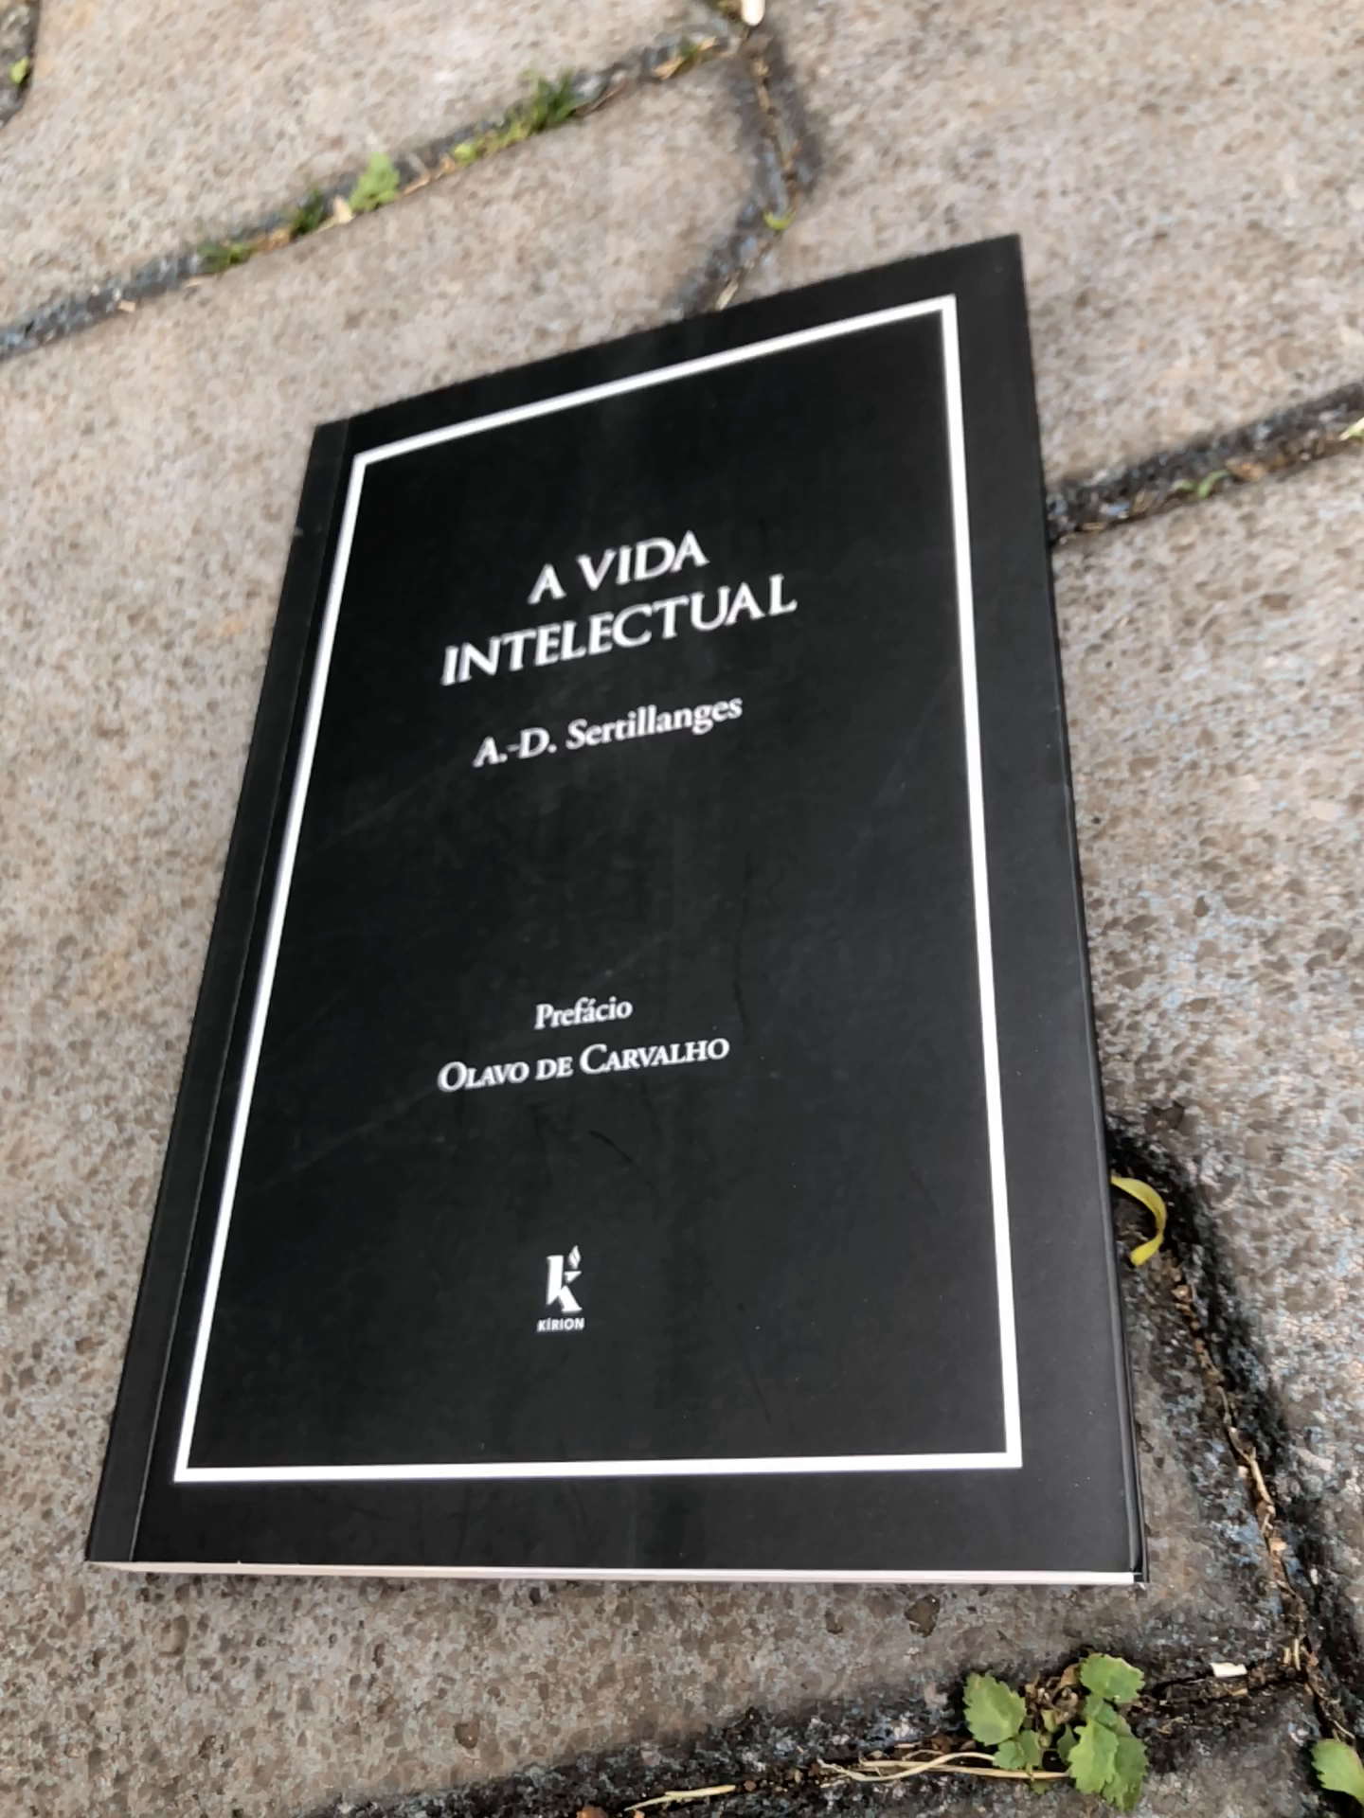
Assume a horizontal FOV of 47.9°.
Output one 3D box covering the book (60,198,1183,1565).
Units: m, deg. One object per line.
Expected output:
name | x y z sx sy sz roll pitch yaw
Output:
book | -0.009 -0.011 0.227 0.136 0.020 0.196 -8 61 20
